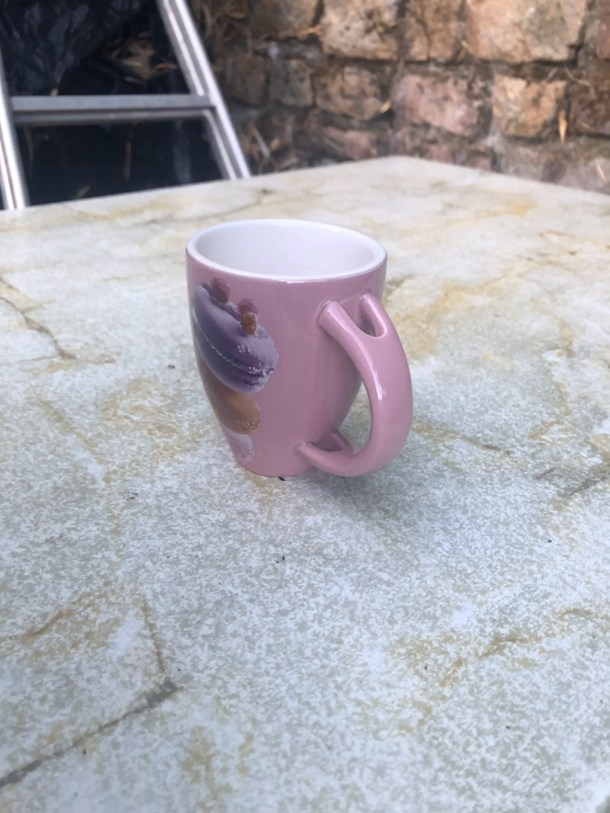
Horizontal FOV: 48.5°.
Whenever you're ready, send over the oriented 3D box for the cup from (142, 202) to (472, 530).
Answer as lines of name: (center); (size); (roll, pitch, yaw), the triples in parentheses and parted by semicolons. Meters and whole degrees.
cup: (-0.005, -0.024, 0.261); (0.080, 0.080, 0.099); (-14, 33, -26)
